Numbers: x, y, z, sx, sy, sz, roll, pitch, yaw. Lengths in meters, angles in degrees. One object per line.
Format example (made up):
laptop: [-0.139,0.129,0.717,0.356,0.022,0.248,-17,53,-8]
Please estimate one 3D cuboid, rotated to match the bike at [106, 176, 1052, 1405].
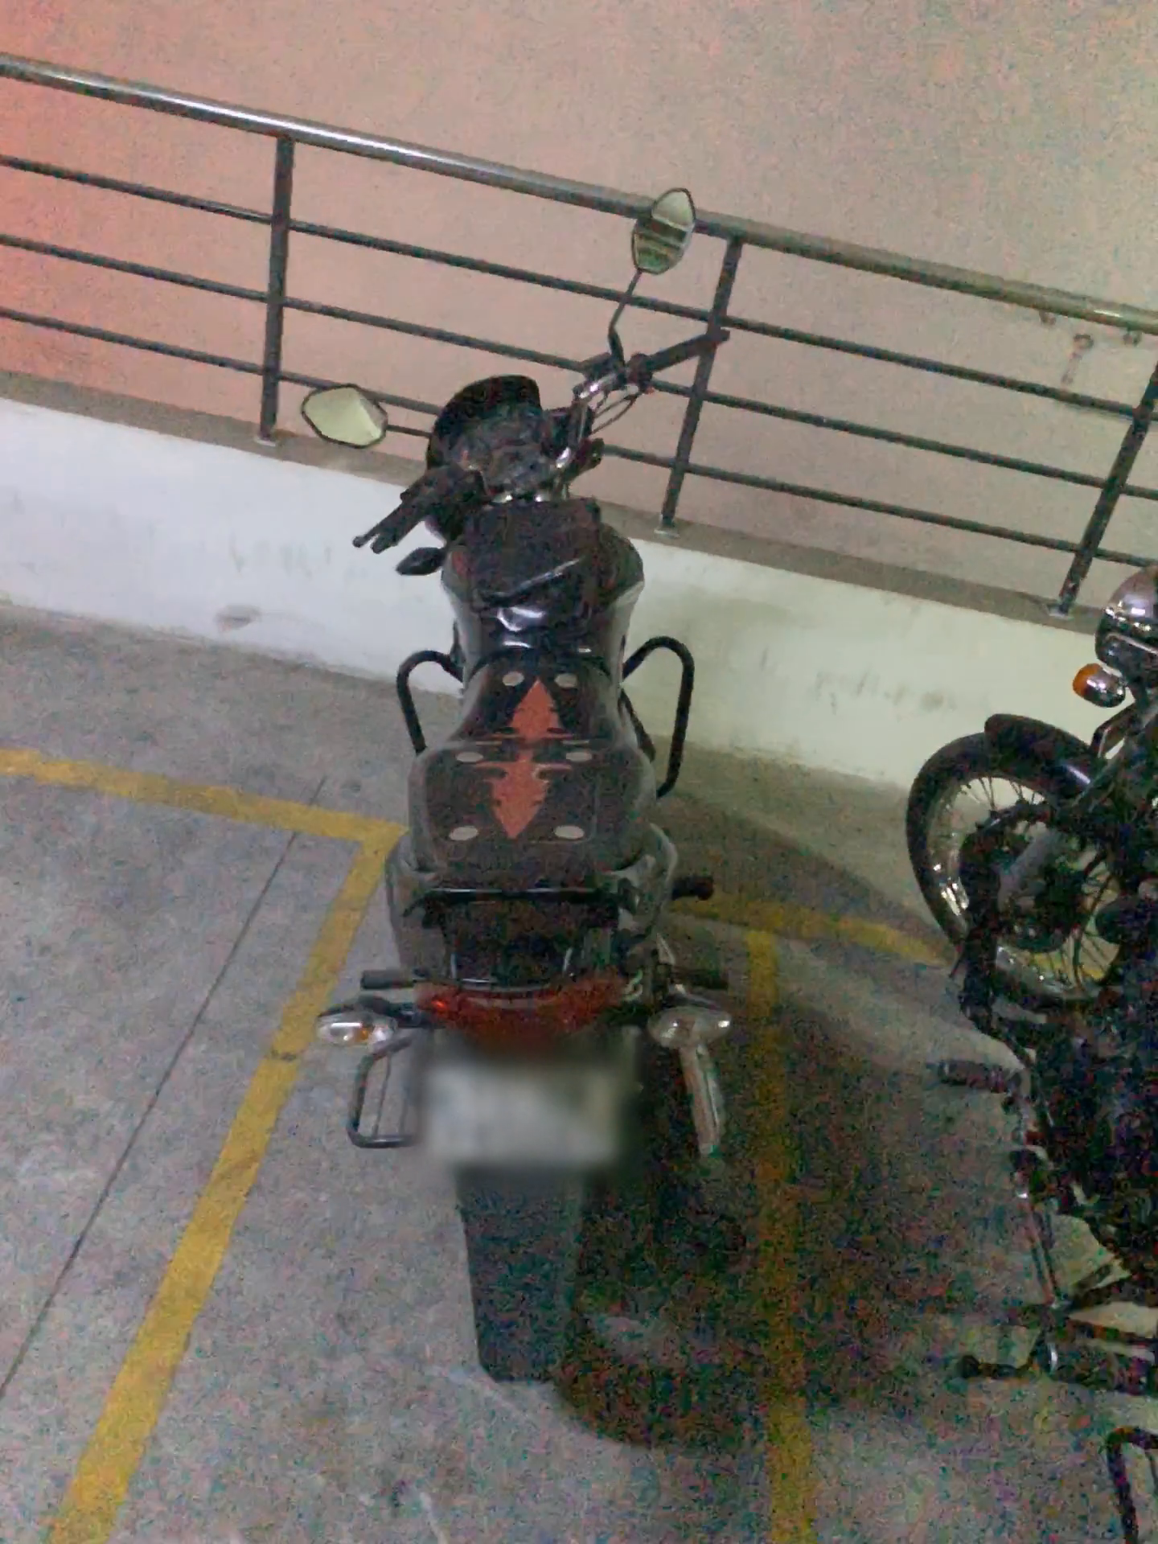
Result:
bike: [-0.209,-0.167,1.885,0.755,1.067,1.685,6,32,-13]
